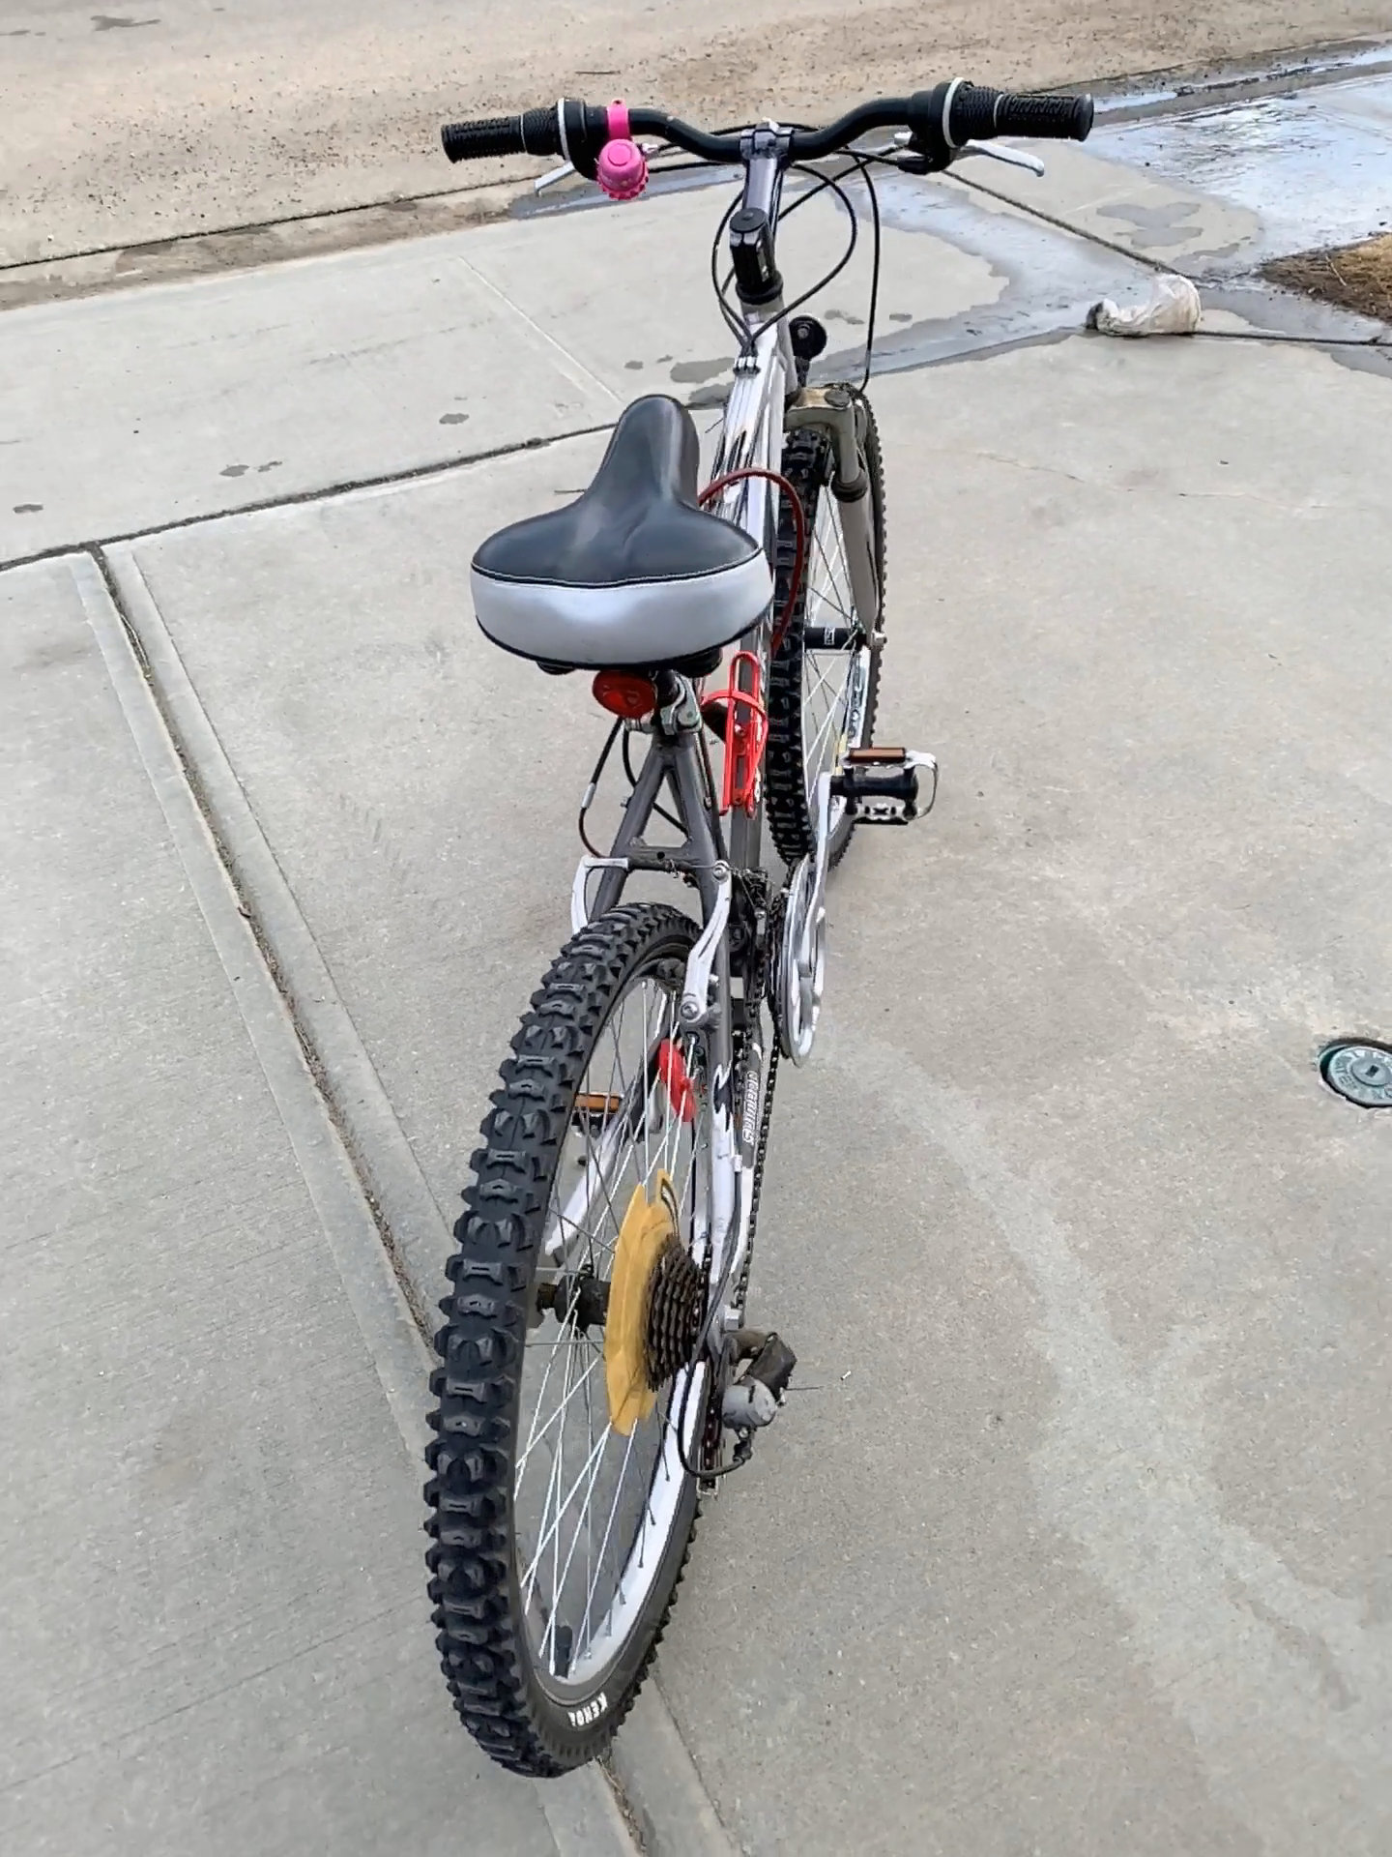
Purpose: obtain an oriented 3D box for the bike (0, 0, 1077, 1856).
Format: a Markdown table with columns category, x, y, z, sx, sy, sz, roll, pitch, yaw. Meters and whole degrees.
| category | x | y | z | sx | sy | sz | roll | pitch | yaw |
| --- | --- | --- | --- | --- | --- | --- | --- | --- | --- |
| bike | -0.023 | -0.205 | 1.235 | 0.538 | 0.825 | 1.507 | 7 | 48 | 9 |
